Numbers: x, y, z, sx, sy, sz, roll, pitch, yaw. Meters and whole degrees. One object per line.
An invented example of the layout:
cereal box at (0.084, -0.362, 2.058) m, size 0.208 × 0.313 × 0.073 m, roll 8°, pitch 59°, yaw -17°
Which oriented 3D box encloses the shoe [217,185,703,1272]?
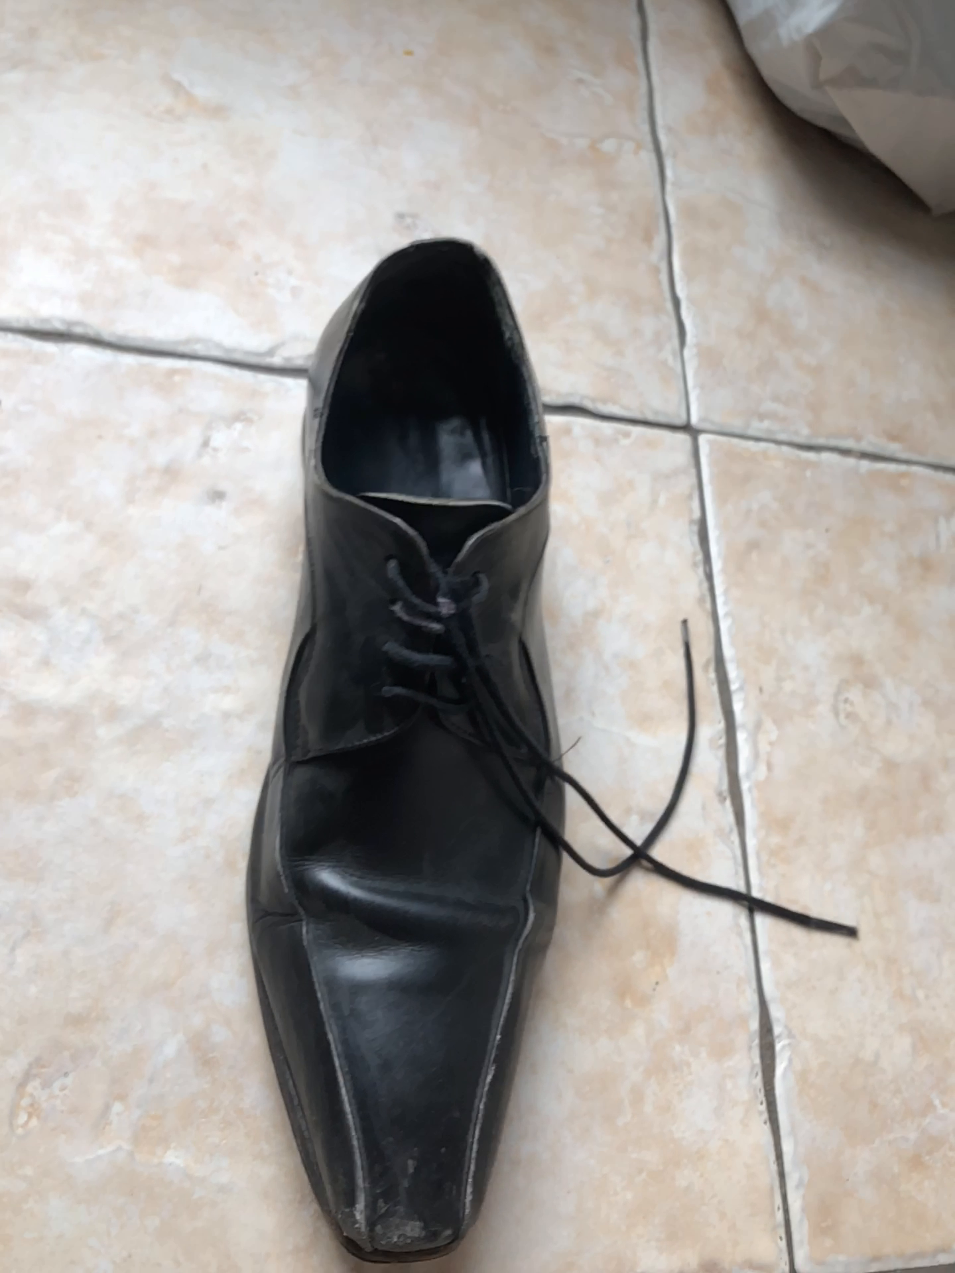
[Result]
shoe at (-0.007, 0.019, 0.315) m, size 0.100 × 0.090 × 0.291 m, roll 7°, pitch 66°, yaw -12°
